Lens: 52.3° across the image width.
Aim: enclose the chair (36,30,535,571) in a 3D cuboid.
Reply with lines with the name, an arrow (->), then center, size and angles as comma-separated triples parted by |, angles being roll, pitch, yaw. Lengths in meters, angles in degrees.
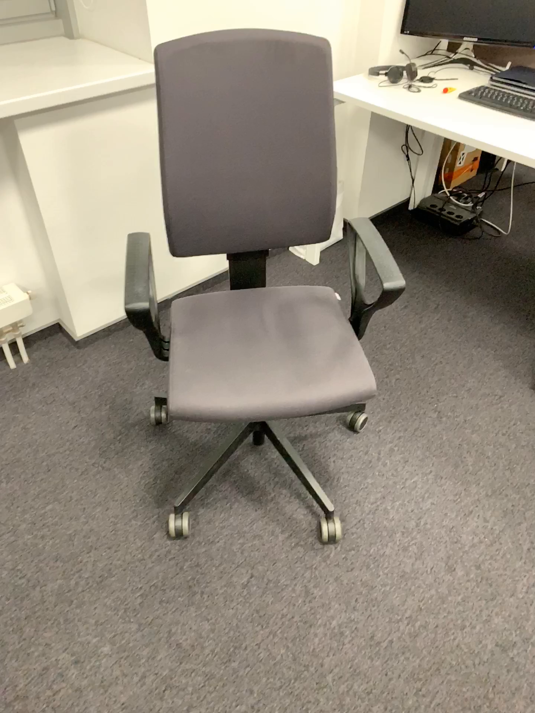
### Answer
chair -> -0.013, -0.128, 1.358 | 0.700, 1.044, 0.754 | -5, 42, -7
